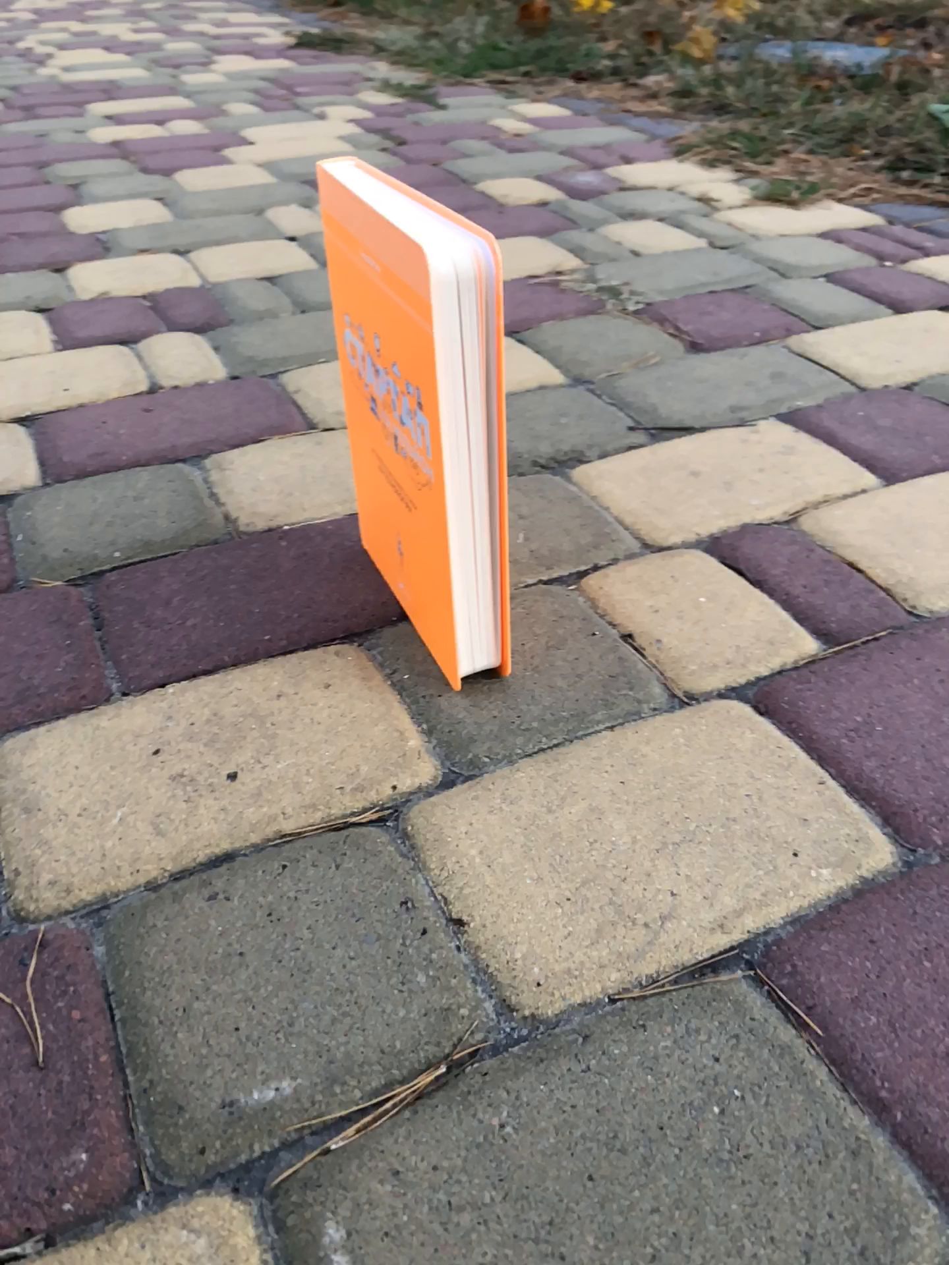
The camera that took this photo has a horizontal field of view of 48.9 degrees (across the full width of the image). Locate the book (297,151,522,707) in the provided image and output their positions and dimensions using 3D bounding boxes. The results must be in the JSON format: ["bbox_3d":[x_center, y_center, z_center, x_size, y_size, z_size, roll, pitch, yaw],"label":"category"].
[{"bbox_3d":[-0.030,-0.097,0.483,0.040,0.200,0.165,-14,37,-16],"label":"book"}]
